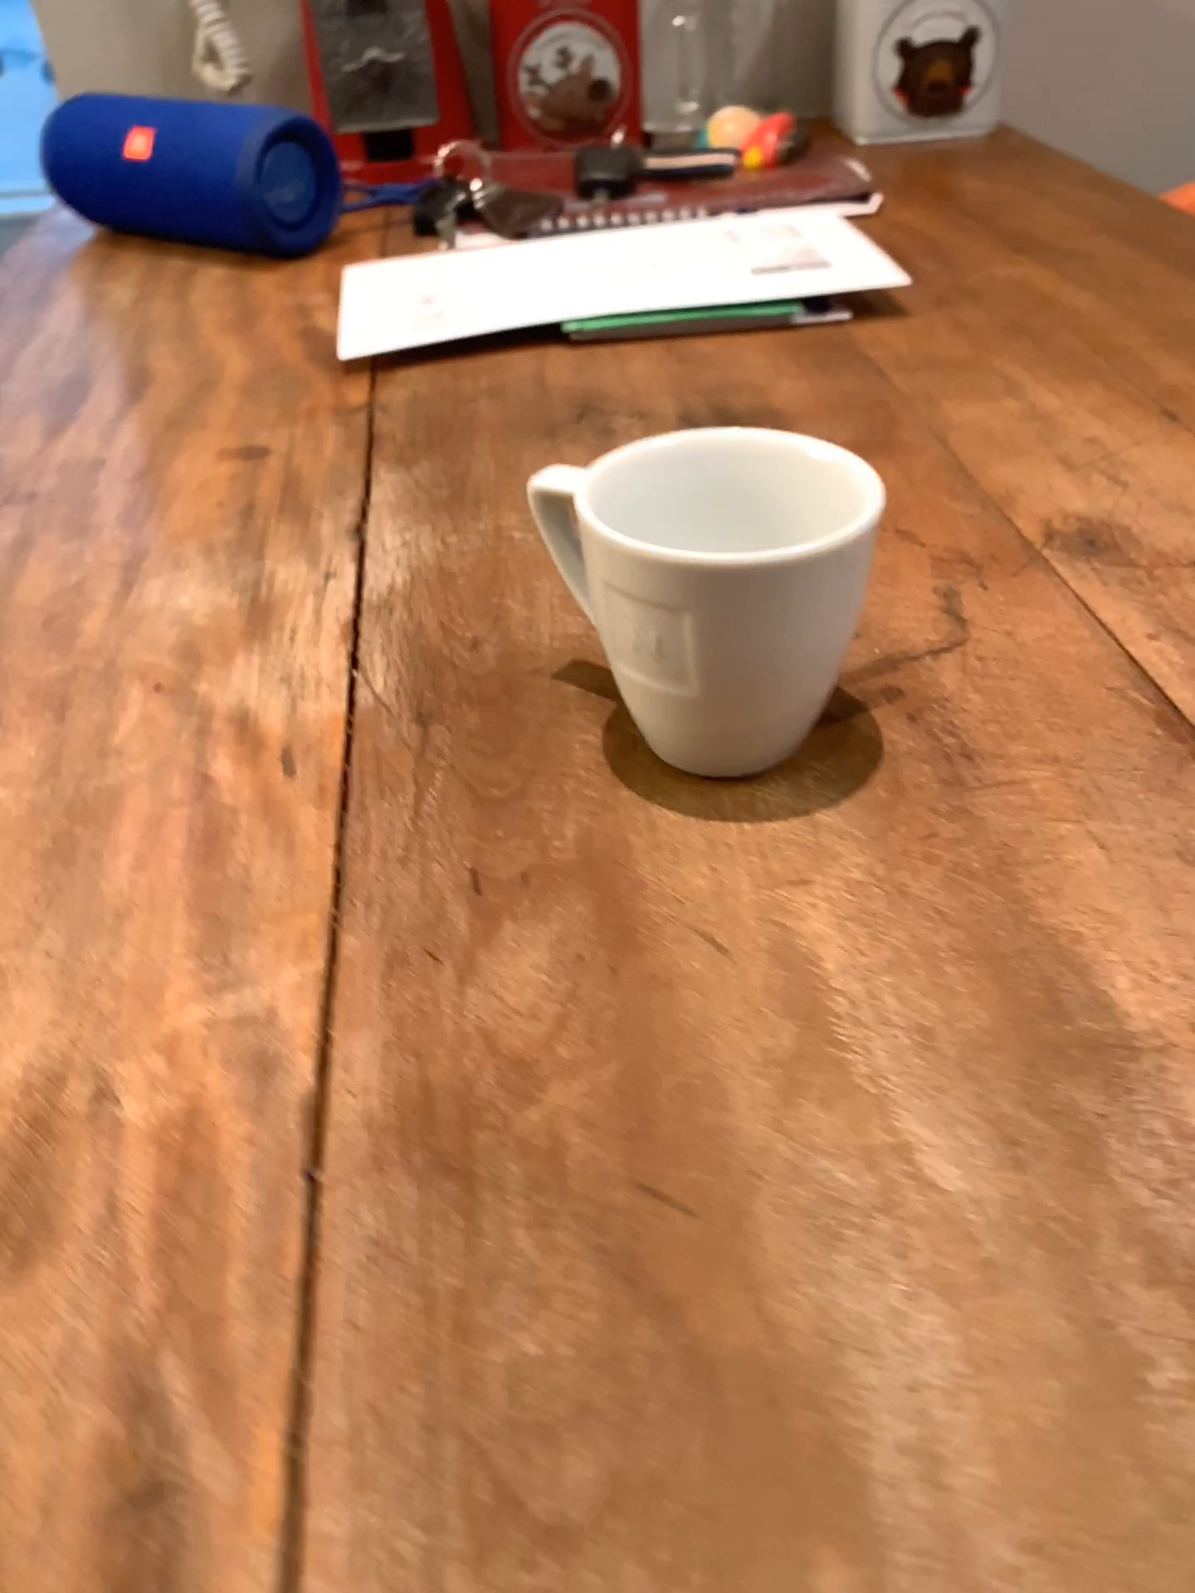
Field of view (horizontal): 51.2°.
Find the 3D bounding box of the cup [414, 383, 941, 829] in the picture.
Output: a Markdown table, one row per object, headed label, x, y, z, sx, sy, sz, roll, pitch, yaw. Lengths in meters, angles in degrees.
| label | x | y | z | sx | sy | sz | roll | pitch | yaw |
| --- | --- | --- | --- | --- | --- | --- | --- | --- | --- |
| cup | 0.015 | -0.046 | 0.265 | 0.060 | 0.050 | 0.090 | -29 | 43 | -30 |
